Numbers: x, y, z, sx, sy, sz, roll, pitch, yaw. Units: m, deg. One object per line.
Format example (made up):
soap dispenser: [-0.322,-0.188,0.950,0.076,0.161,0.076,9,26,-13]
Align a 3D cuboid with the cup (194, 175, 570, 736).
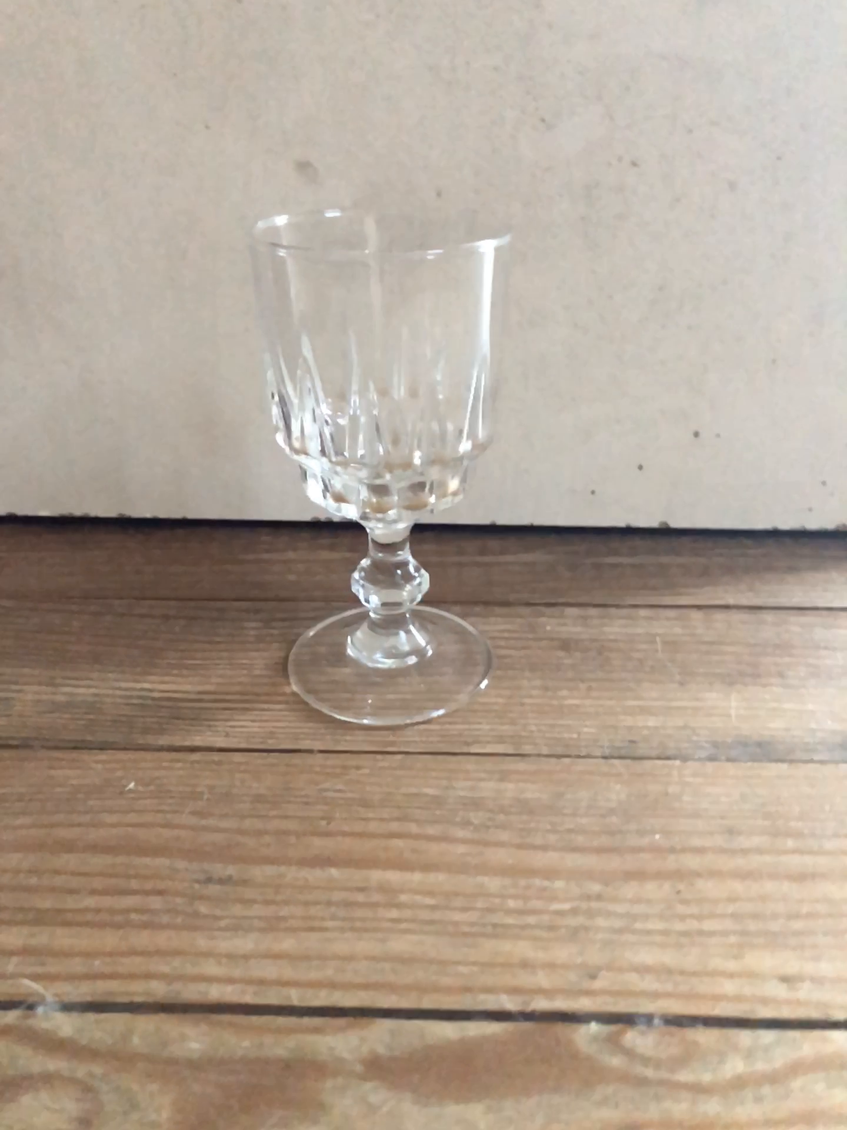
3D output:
cup: [-0.010,-0.028,0.234,0.070,0.119,0.070,1,28,0]
